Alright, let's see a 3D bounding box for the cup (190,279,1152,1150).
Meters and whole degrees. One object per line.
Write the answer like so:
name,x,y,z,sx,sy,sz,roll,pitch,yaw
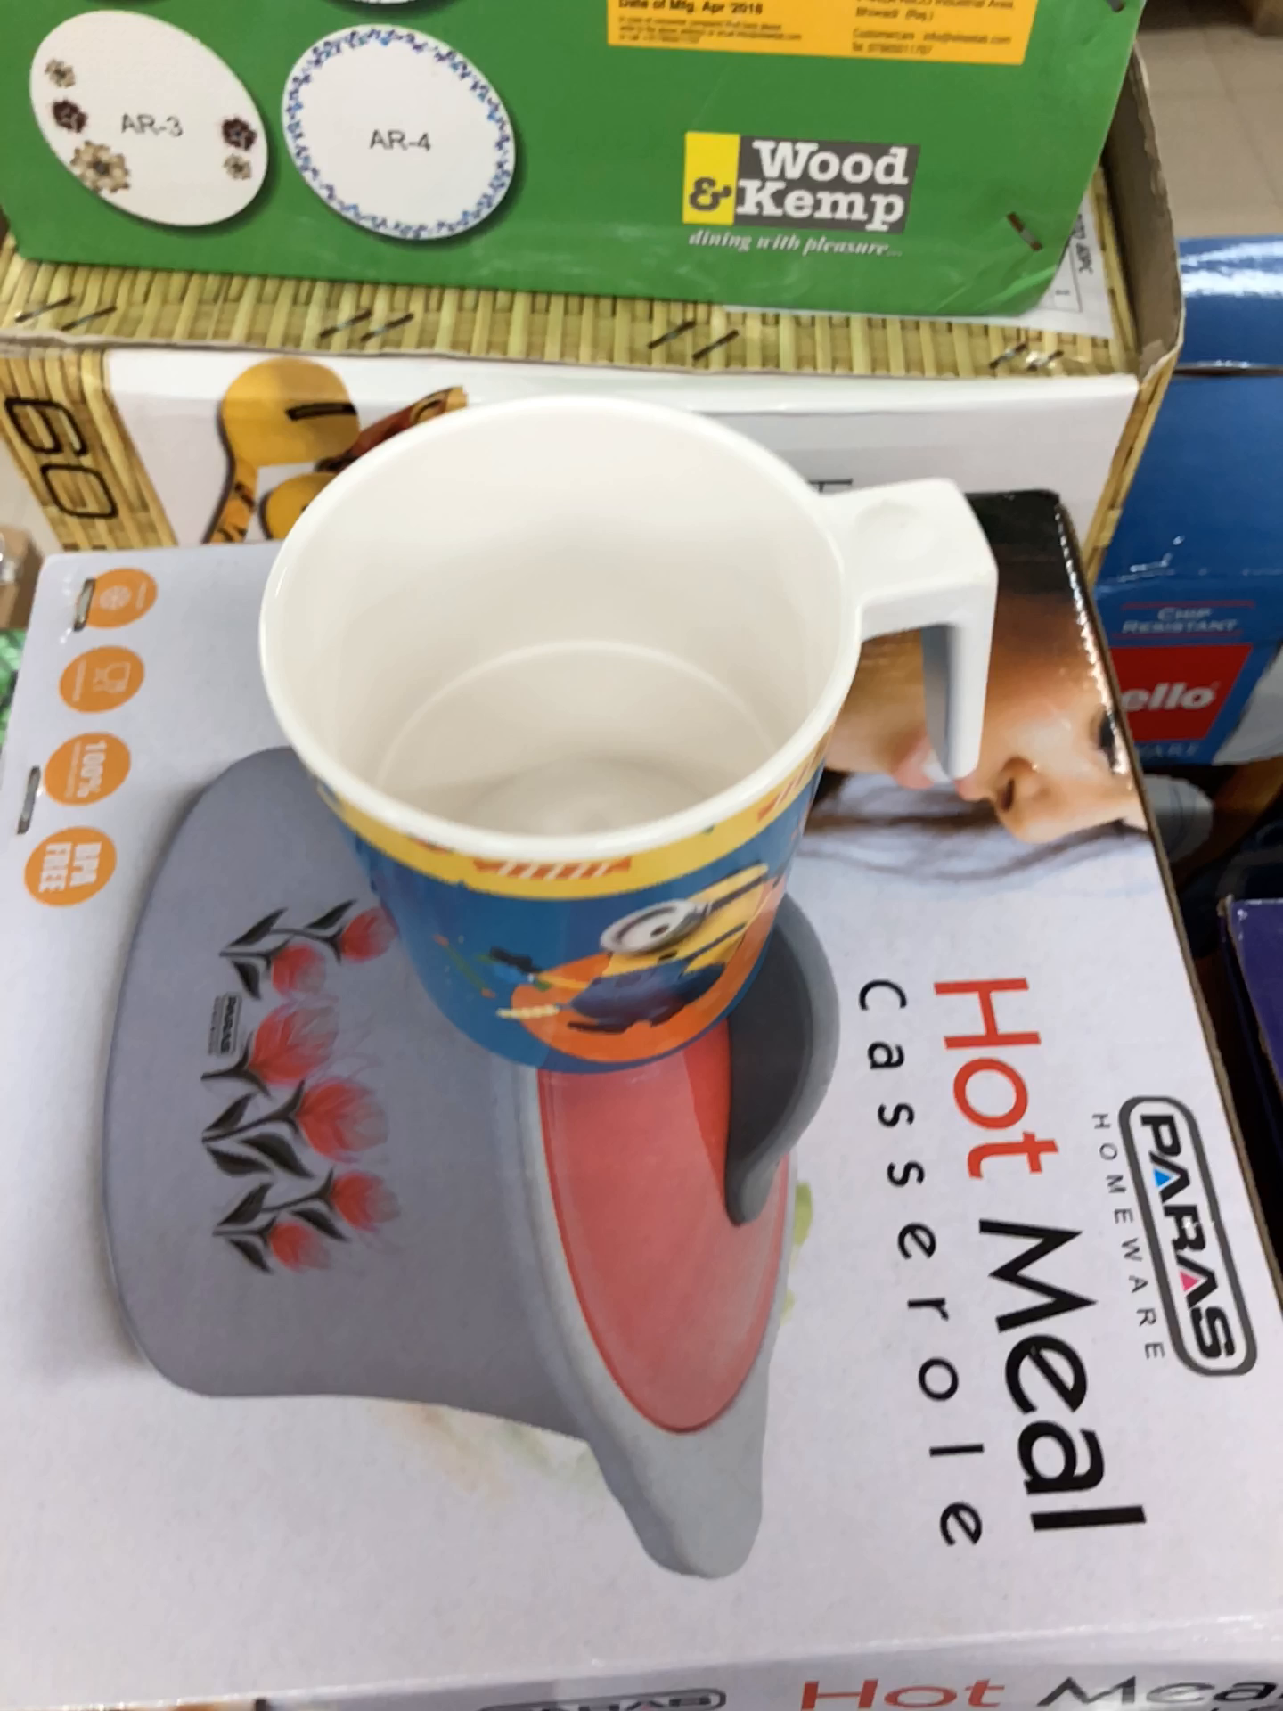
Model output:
cup,0.001,-0.021,0.228,0.110,0.080,0.080,-17,60,-9
